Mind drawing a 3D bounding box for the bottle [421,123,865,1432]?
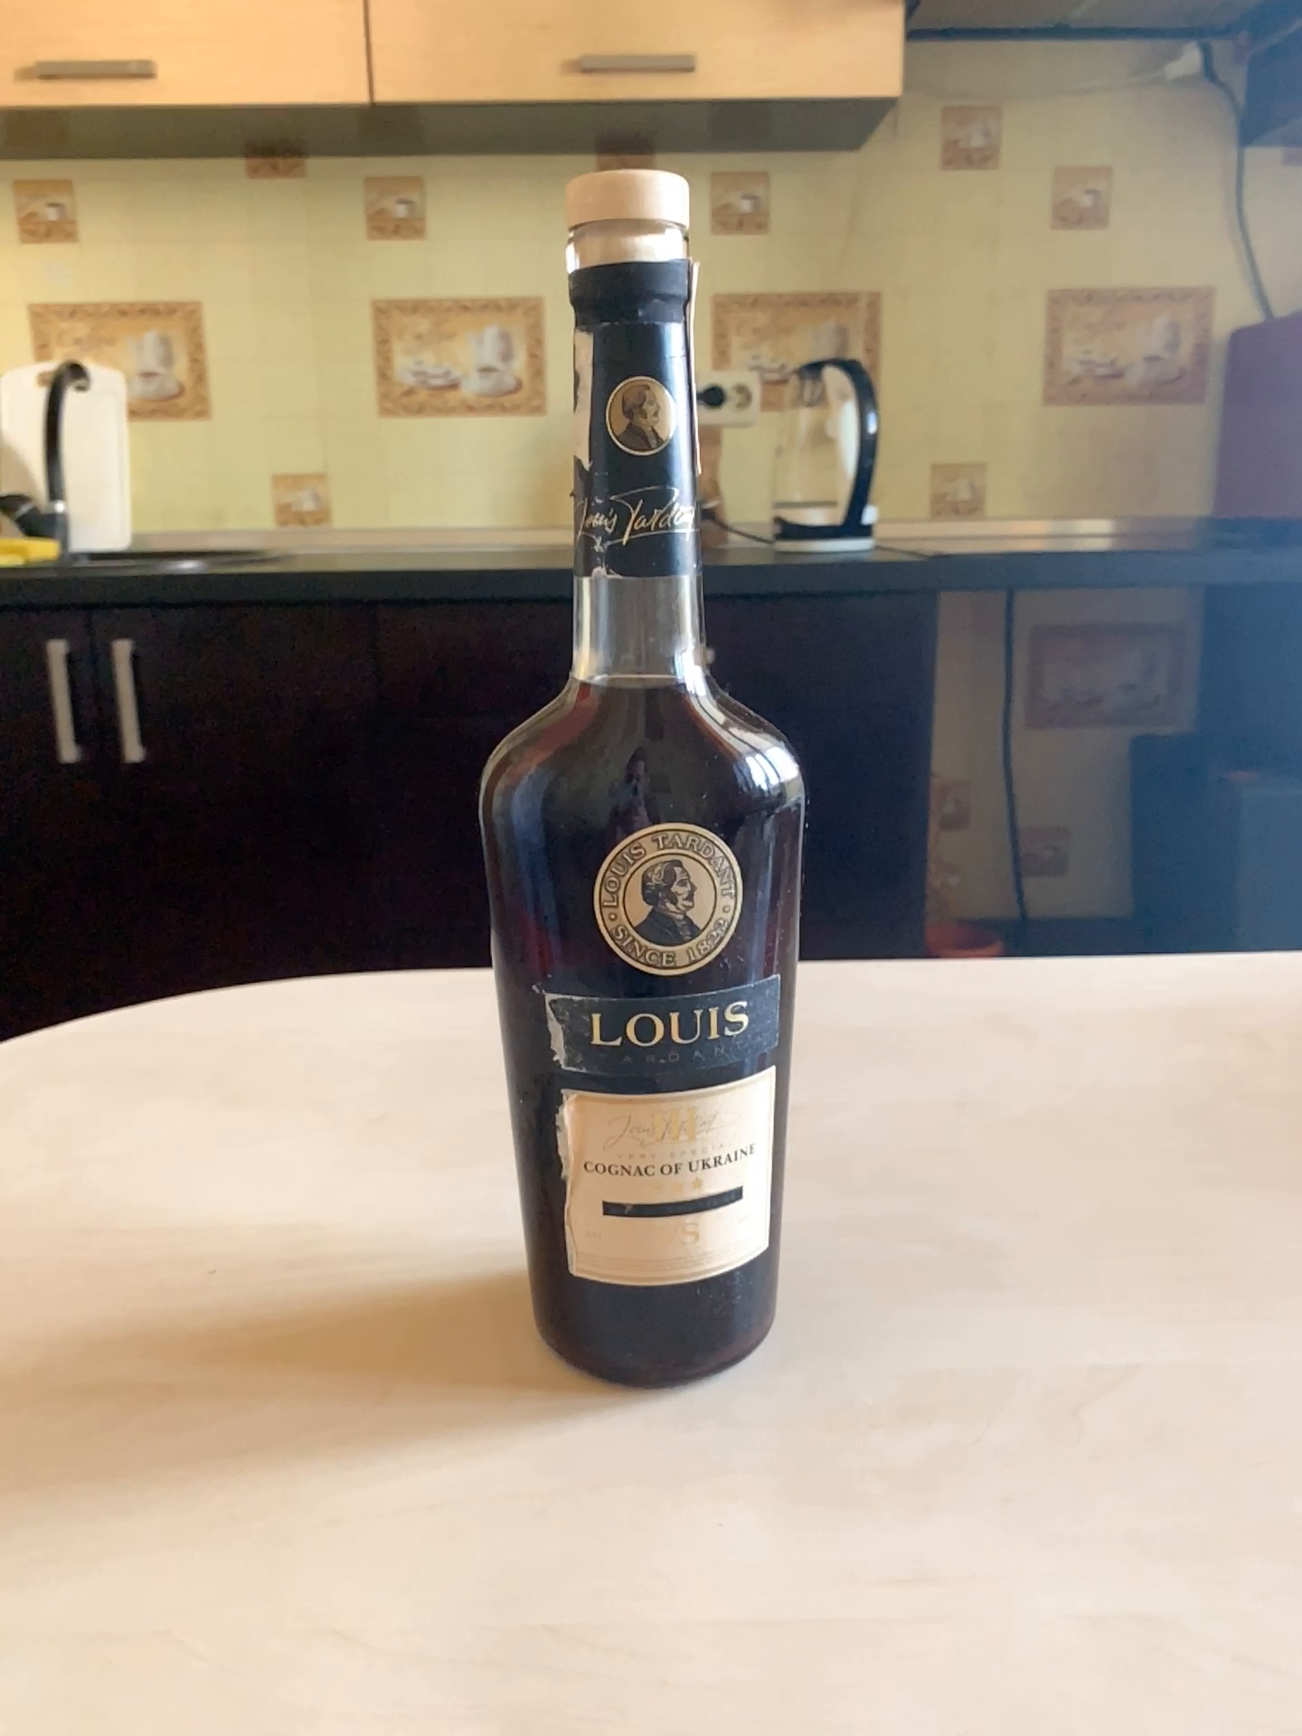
[{"bbox_3d":[-0.004,-0.015,0.340,0.080,0.289,0.080,-1,15,0],"label":"bottle"}]
